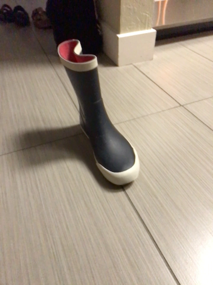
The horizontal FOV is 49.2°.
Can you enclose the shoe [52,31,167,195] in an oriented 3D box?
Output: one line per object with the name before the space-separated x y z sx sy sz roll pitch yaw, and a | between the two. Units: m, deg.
shoe | -0.006 -0.075 0.499 0.102 0.216 0.280 -20 45 -15
